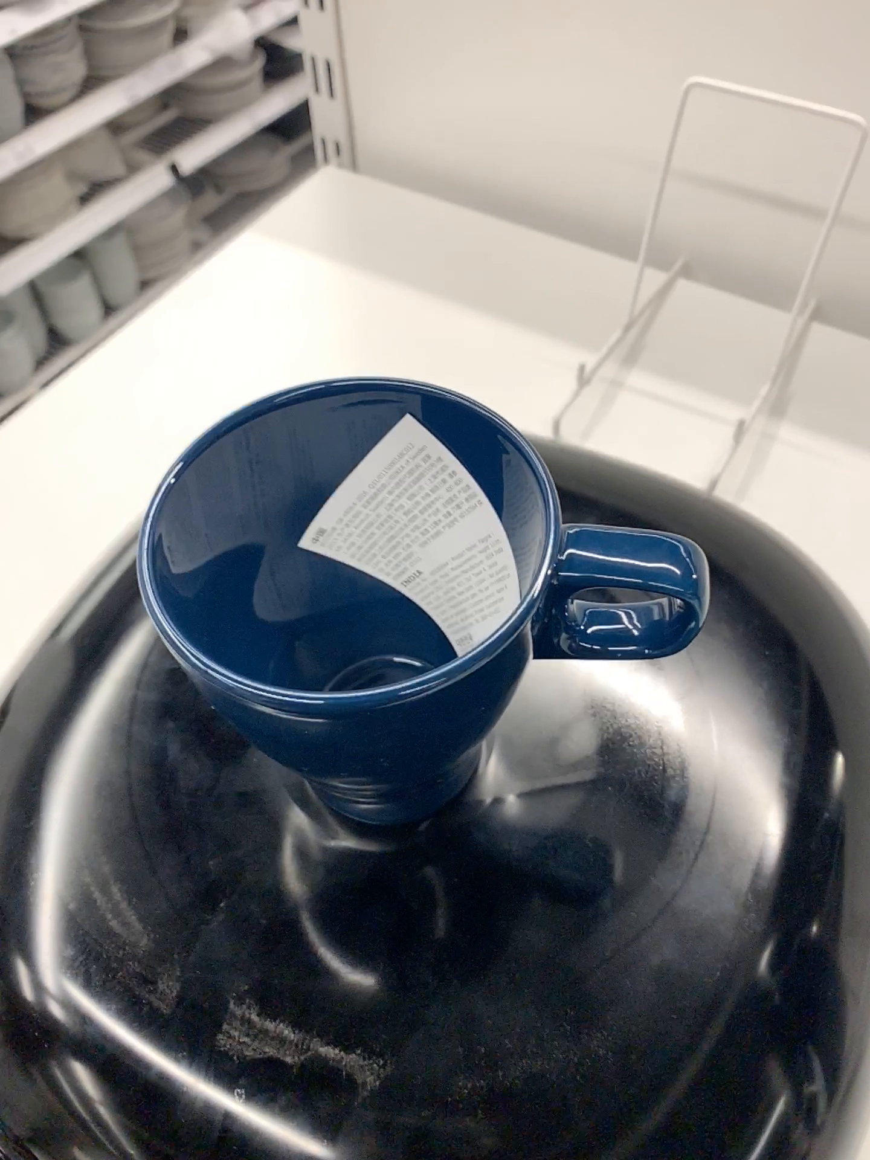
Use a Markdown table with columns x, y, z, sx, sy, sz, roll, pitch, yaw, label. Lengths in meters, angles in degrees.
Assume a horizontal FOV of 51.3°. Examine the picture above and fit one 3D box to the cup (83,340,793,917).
| x | y | z | sx | sy | sz | roll | pitch | yaw | label |
| --- | --- | --- | --- | --- | --- | --- | --- | --- | --- |
| -0.002 | 0.015 | 0.220 | 0.120 | 0.100 | 0.090 | -4 | 52 | -2 | cup |
